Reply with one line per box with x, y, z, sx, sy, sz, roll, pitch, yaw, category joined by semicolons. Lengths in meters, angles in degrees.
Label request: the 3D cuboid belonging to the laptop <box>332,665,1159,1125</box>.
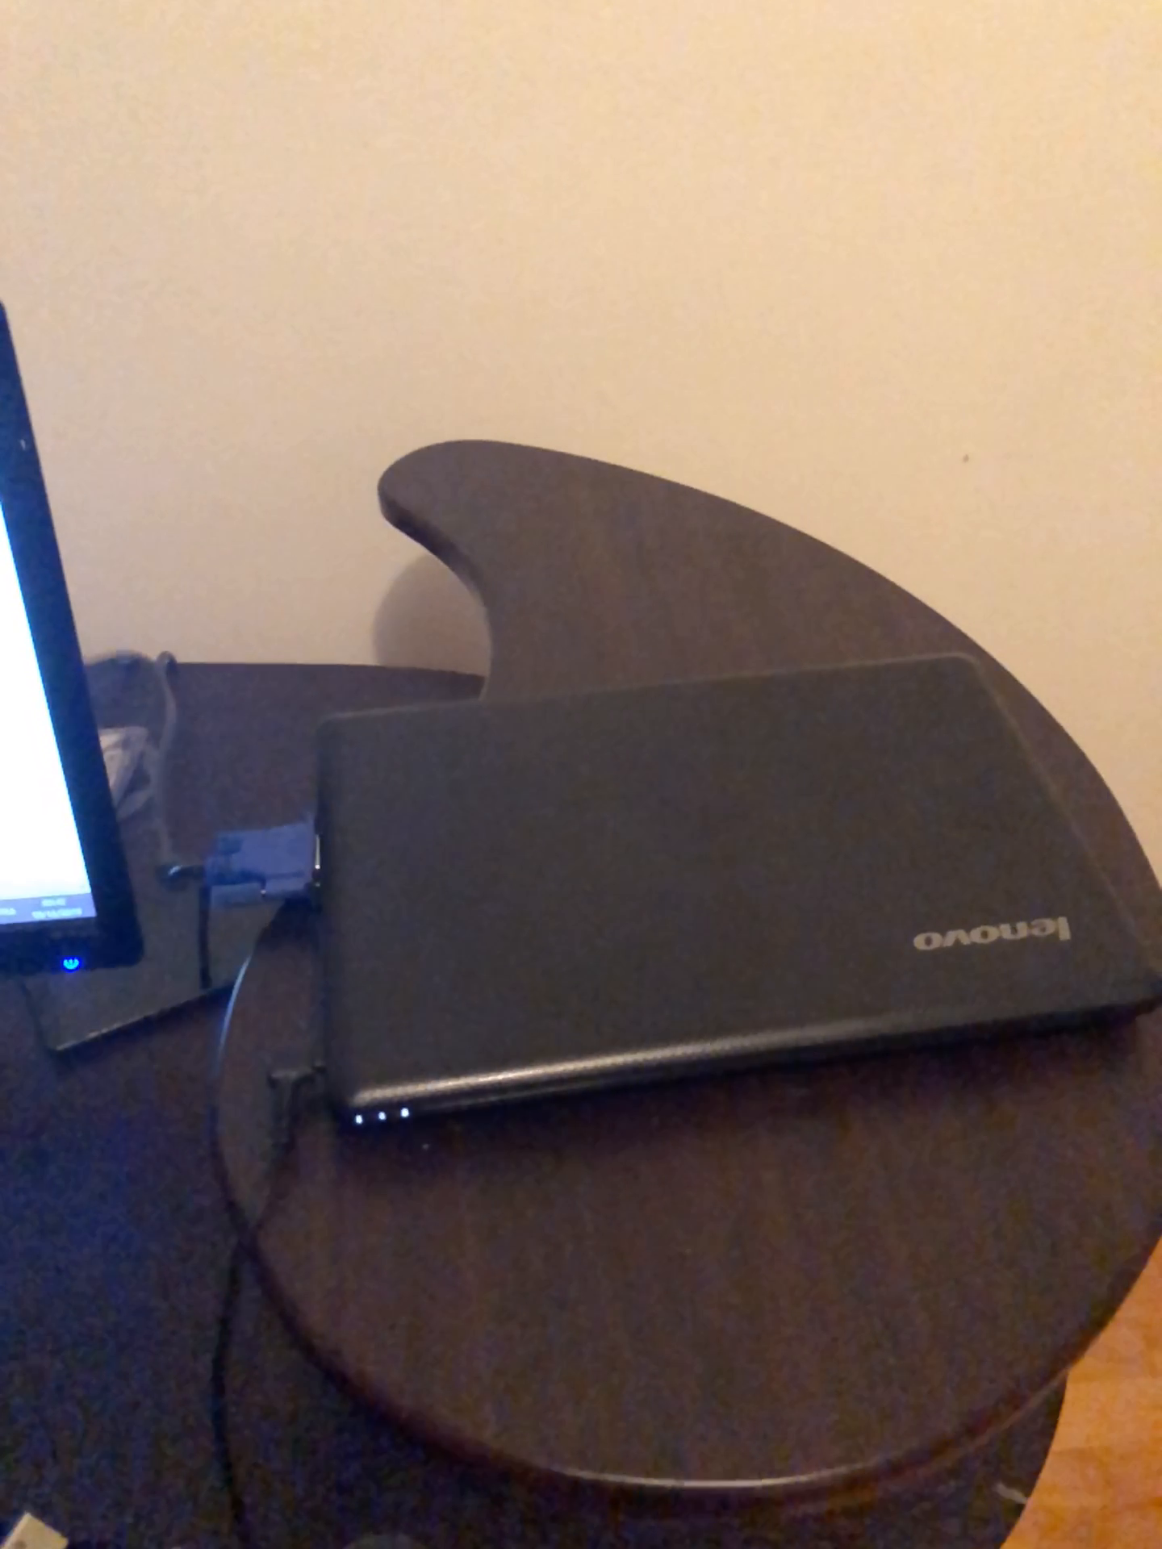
0.043;0.030;0.463;0.259;0.008;0.173;-7;43;-6;laptop
